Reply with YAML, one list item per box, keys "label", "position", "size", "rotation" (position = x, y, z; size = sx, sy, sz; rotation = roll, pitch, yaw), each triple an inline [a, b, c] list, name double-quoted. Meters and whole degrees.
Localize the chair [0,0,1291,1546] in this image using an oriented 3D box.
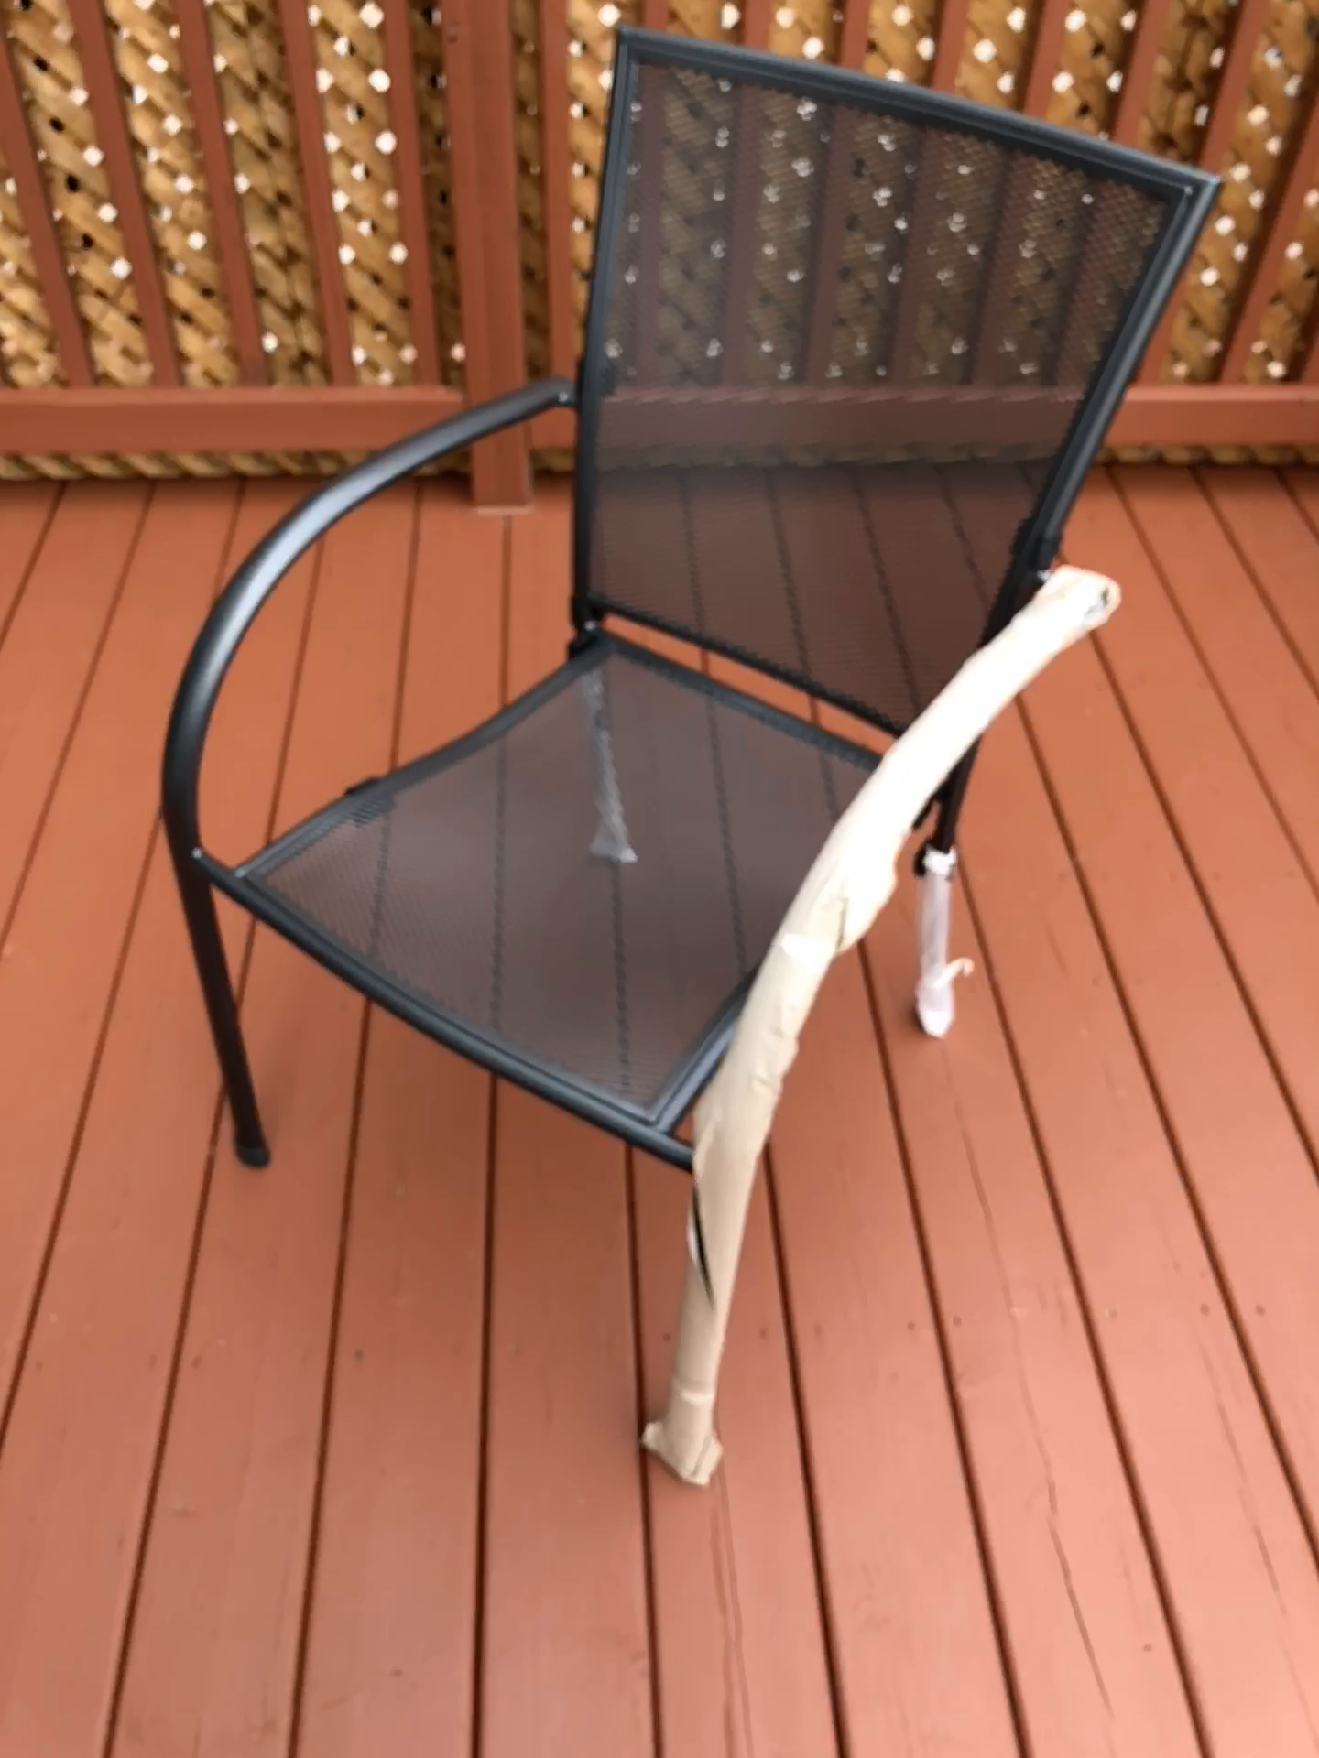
- label: "chair"
  position: [-0.051, -0.091, 1.177]
  size: [0.601, 0.927, 0.651]
  rotation: [28, 52, 23]
